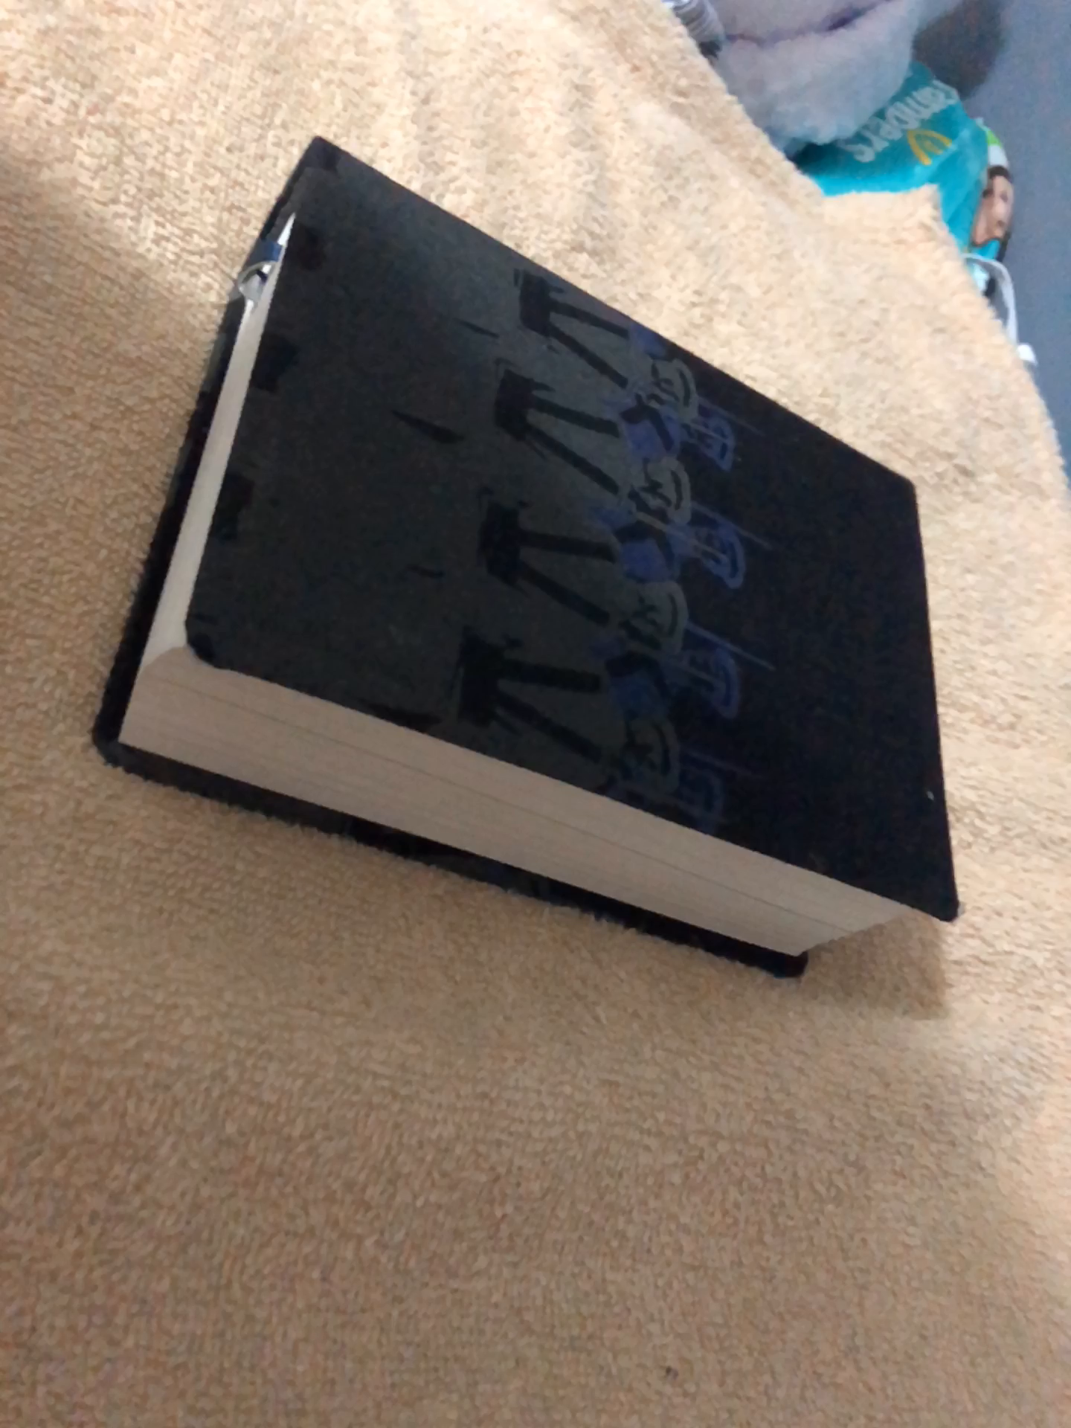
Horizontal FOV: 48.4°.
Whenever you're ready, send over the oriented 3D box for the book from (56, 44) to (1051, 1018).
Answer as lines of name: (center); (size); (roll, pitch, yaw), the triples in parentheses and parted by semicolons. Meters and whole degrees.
book: (0.019, -0.029, 0.257); (0.190, 0.050, 0.141); (22, 56, -27)
